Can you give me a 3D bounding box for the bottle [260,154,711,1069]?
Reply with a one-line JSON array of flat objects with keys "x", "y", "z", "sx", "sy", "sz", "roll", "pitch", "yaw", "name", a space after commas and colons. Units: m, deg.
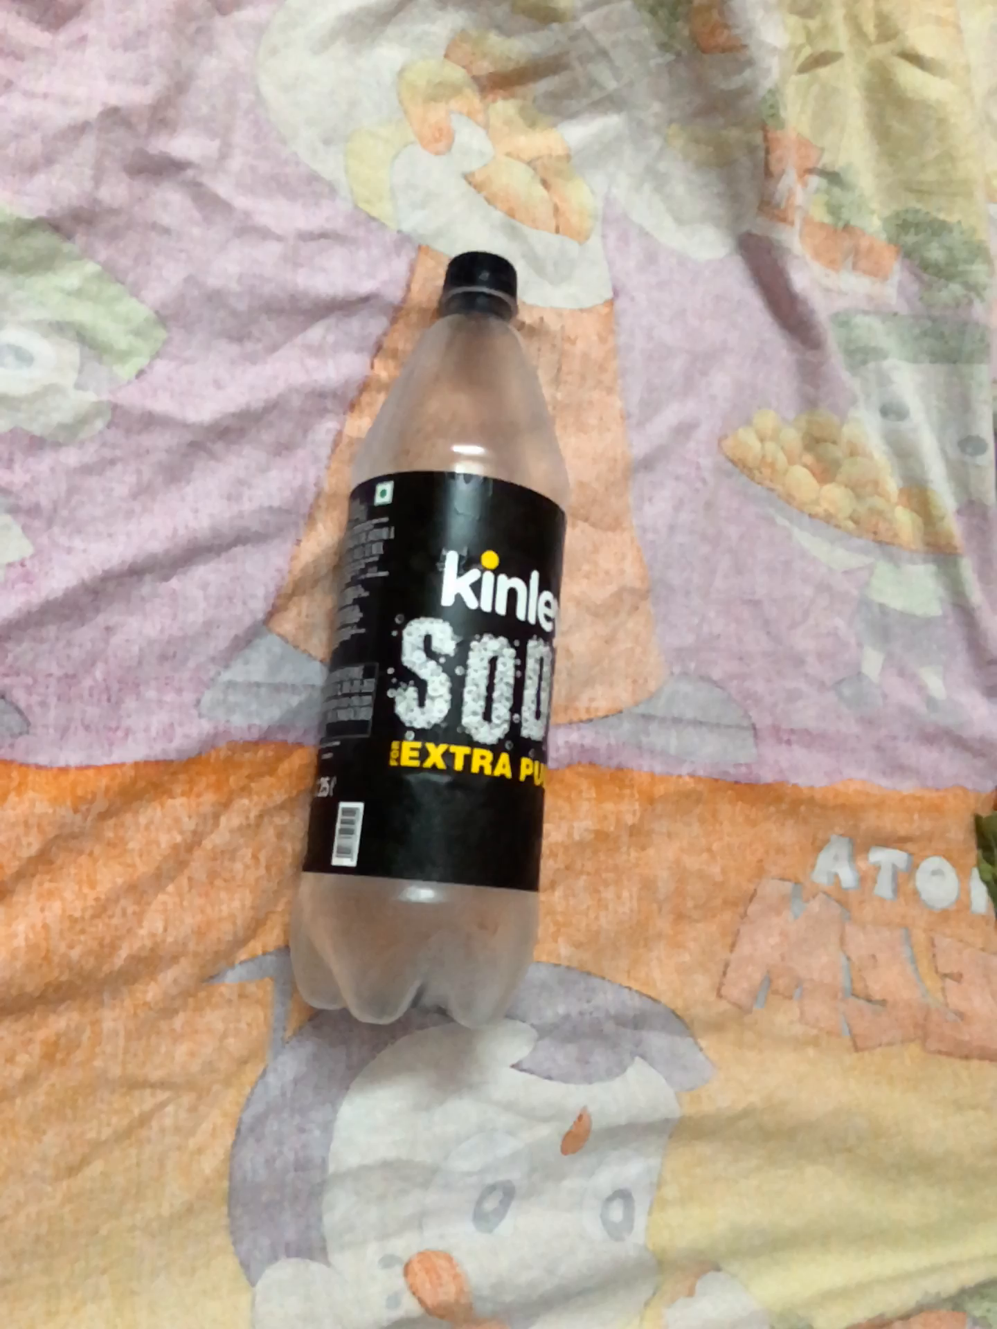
[{"x": 0.000, "y": -0.015, "z": 0.385, "sx": 0.090, "sy": 0.080, "sz": 0.280, "roll": 16, "pitch": 79, "yaw": -43, "name": "bottle"}]
